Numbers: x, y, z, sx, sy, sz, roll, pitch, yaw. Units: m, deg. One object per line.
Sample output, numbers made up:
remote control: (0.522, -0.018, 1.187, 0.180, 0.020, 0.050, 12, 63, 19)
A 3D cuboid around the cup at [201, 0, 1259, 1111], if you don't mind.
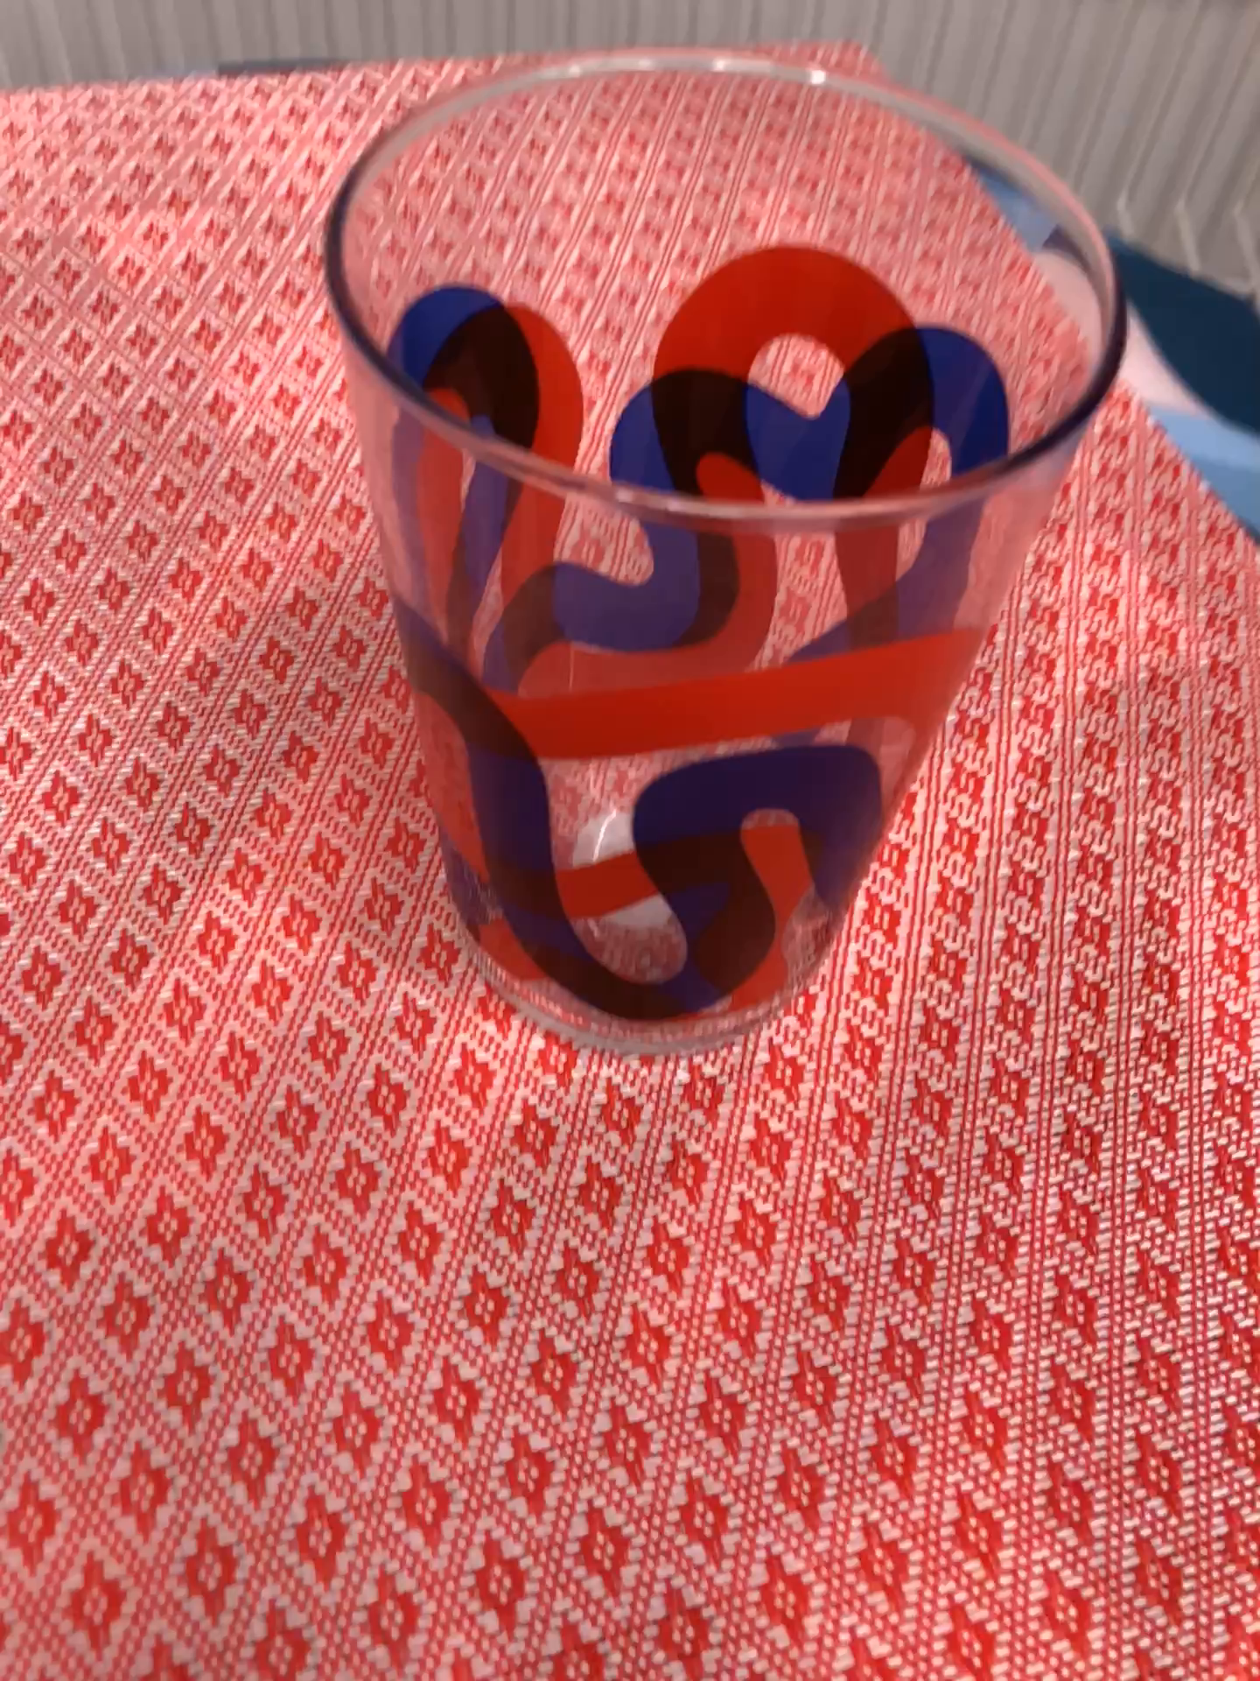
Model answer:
cup: (0.008, -0.033, 0.192, 0.090, 0.120, 0.090, 2, 55, -3)
